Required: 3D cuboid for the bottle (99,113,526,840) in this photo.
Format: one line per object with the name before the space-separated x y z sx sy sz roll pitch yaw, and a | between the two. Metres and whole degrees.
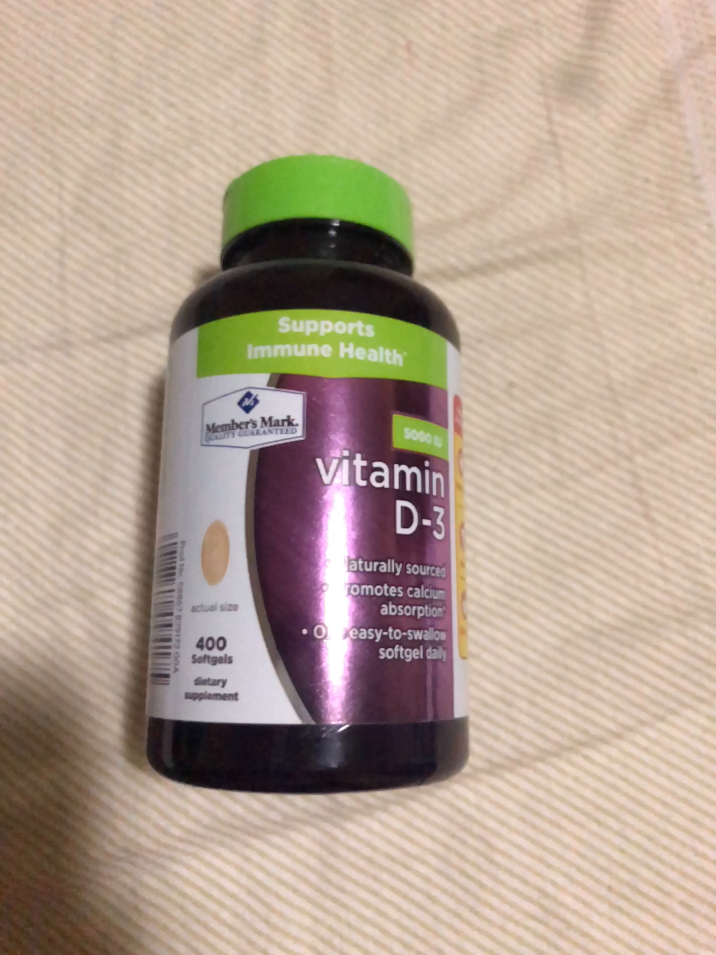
bottle | -0.009 0.002 0.154 0.060 0.060 0.110 1 79 -7
